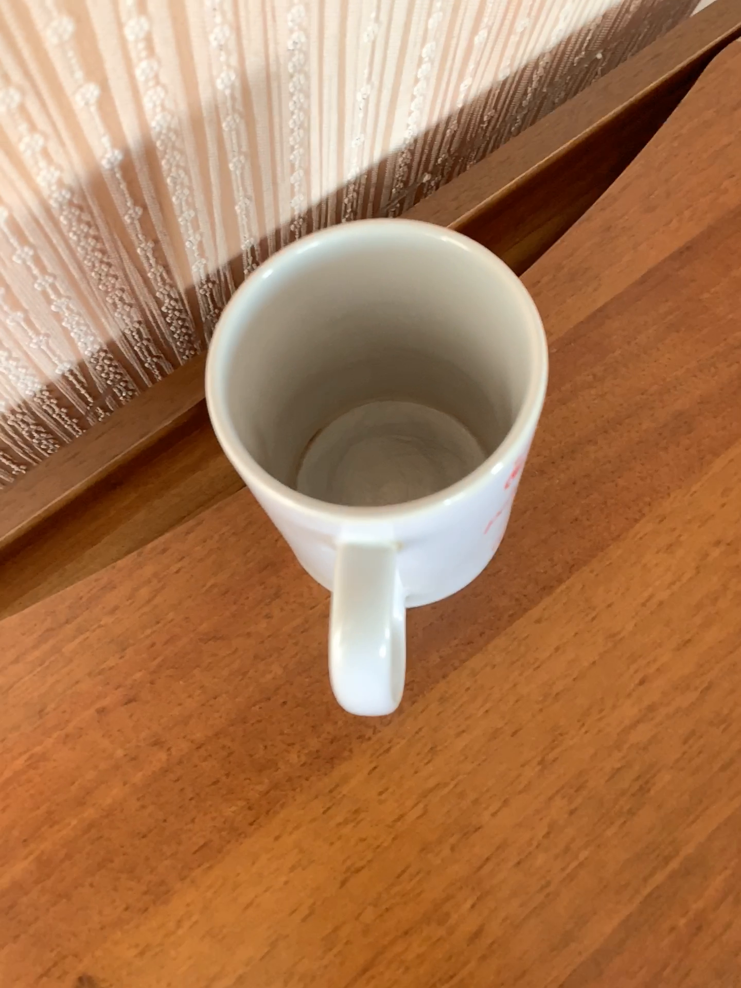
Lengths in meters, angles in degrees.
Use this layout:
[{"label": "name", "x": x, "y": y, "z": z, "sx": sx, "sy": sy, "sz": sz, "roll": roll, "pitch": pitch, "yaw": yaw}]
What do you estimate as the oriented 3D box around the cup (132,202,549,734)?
[{"label": "cup", "x": 0.002, "y": 0.000, "z": 0.220, "sx": 0.082, "sy": 0.106, "sz": 0.118, "roll": 3, "pitch": 69, "yaw": 7}]
